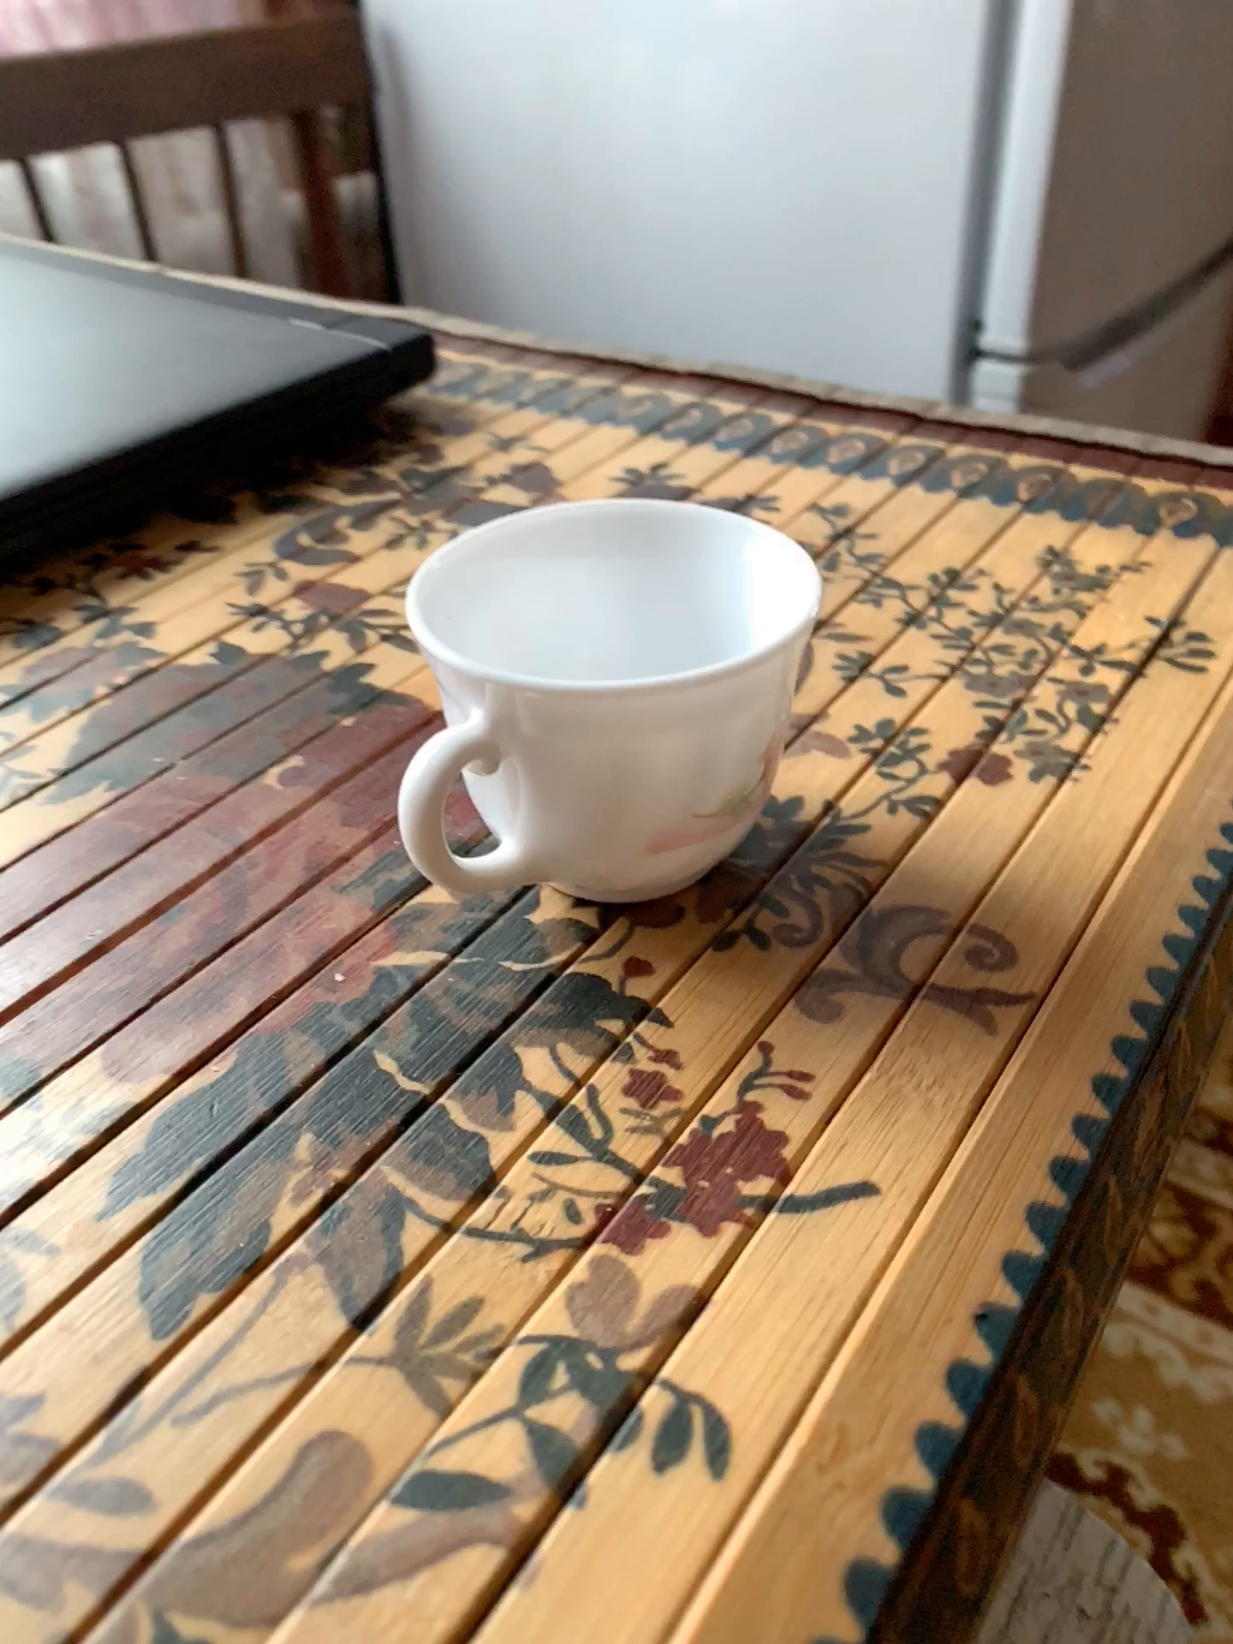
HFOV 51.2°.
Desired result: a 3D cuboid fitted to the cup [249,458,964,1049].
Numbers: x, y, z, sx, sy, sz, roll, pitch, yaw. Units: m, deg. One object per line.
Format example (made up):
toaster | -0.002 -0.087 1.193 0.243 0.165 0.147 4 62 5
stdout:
cup | 0.001 -0.018 0.197 0.068 0.039 0.081 26 44 33
